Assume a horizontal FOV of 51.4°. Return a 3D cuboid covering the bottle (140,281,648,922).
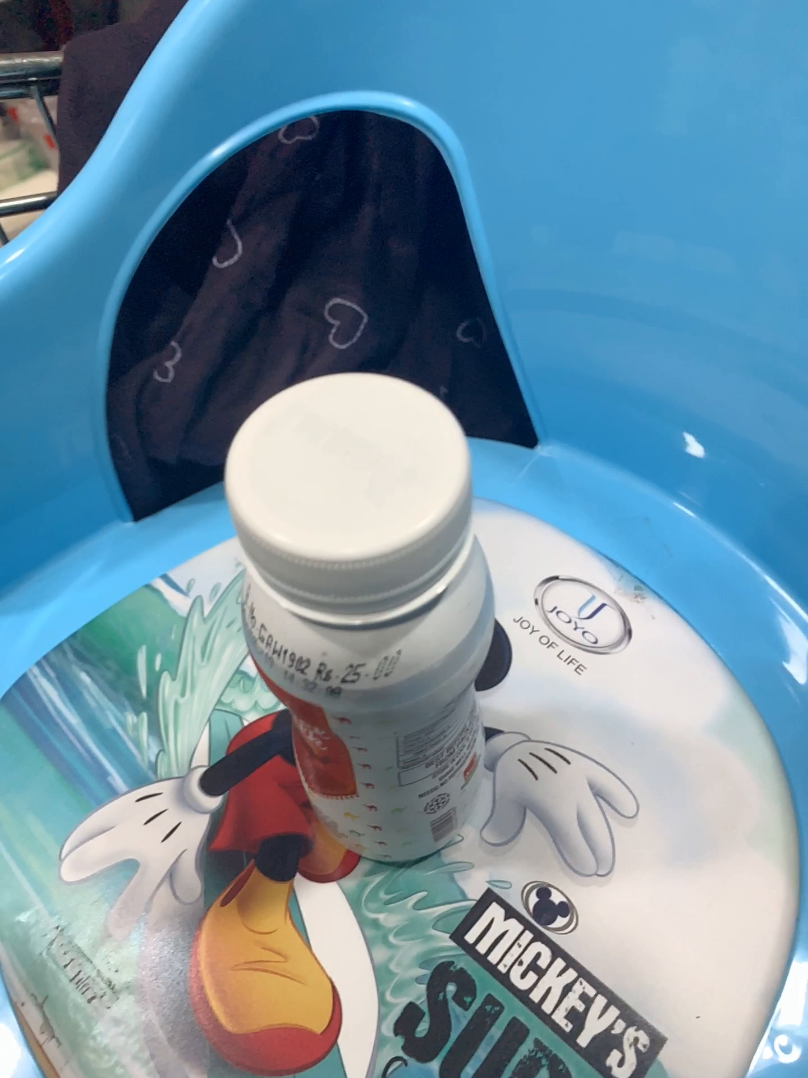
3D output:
[{"bbox_3d":[-0.003,0.023,0.188,0.060,0.130,0.060,0,51,0],"label":"bottle"}]
